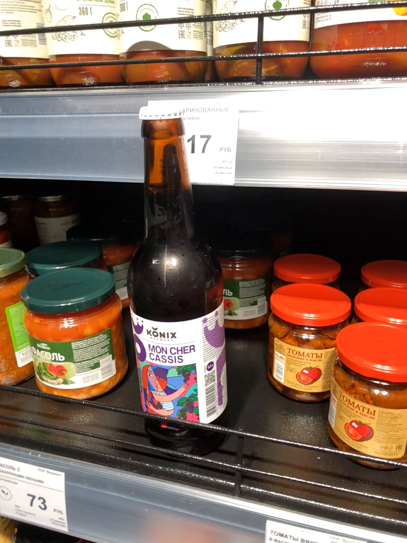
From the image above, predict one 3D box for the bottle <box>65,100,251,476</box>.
[{"bbox_3d":[-0.019,0.011,0.314,0.080,0.239,0.080,-2,23,1],"label":"bottle"}]
